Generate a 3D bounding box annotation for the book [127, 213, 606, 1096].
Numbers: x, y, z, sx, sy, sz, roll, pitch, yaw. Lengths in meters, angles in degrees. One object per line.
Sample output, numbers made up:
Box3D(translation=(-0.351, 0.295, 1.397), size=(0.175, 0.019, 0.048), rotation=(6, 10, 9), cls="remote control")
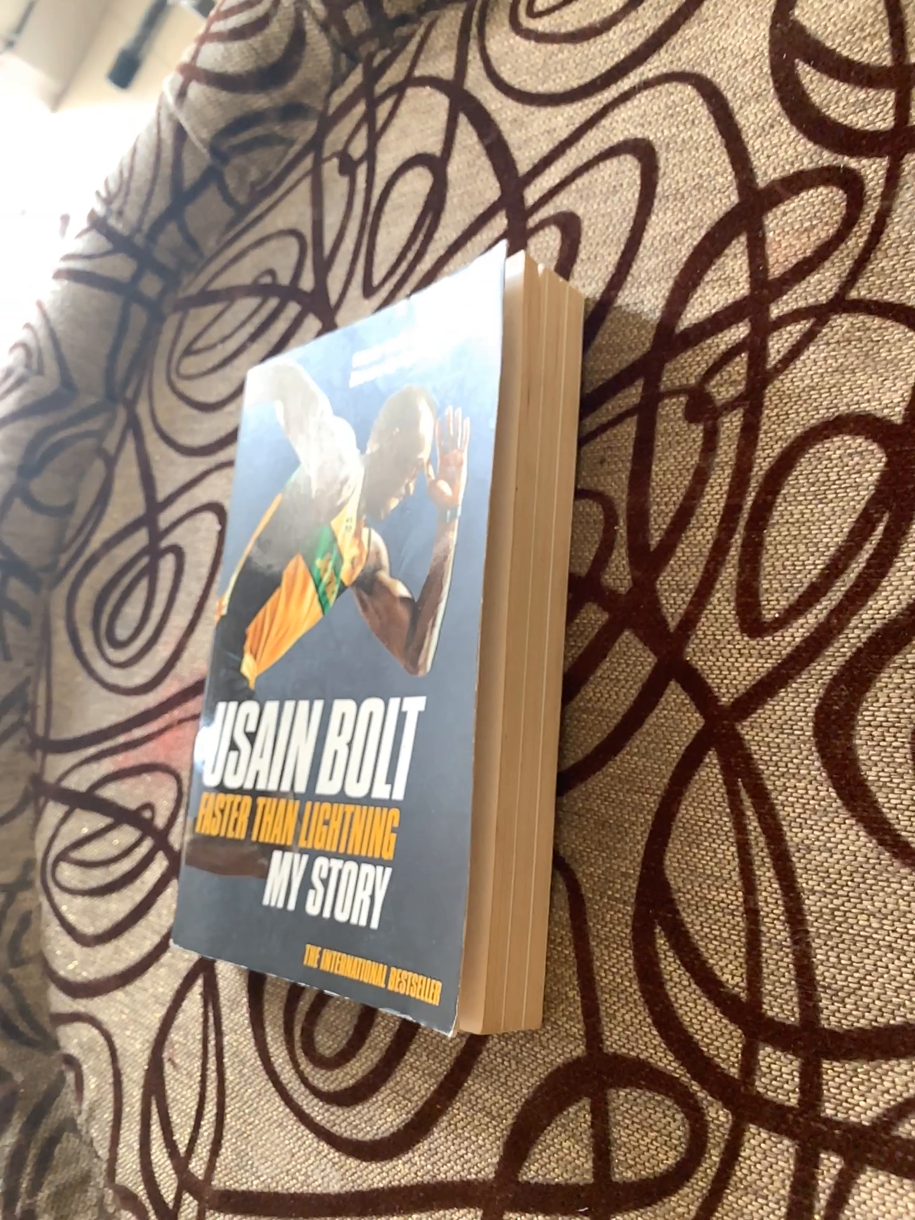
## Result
Box3D(translation=(-0.030, 0.009, 0.273), size=(0.141, 0.030, 0.200), rotation=(-6, 74, 44), cls="book")
